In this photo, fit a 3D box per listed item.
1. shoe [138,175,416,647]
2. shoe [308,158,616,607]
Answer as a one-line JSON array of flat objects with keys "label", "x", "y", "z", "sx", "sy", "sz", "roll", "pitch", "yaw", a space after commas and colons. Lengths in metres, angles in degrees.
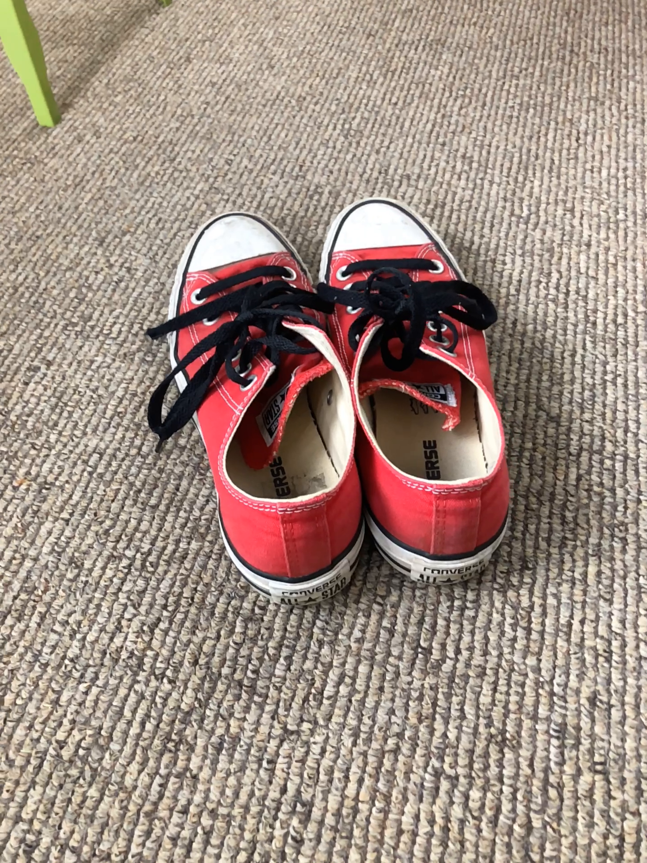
[{"label": "shoe", "x": -0.038, "y": -0.027, "z": 0.422, "sx": 0.102, "sy": 0.096, "sz": 0.263, "roll": -11, "pitch": 53, "yaw": -7}, {"label": "shoe", "x": 0.060, "y": -0.044, "z": 0.420, "sx": 0.102, "sy": 0.088, "sz": 0.260, "roll": -7, "pitch": 53, "yaw": -4}]
